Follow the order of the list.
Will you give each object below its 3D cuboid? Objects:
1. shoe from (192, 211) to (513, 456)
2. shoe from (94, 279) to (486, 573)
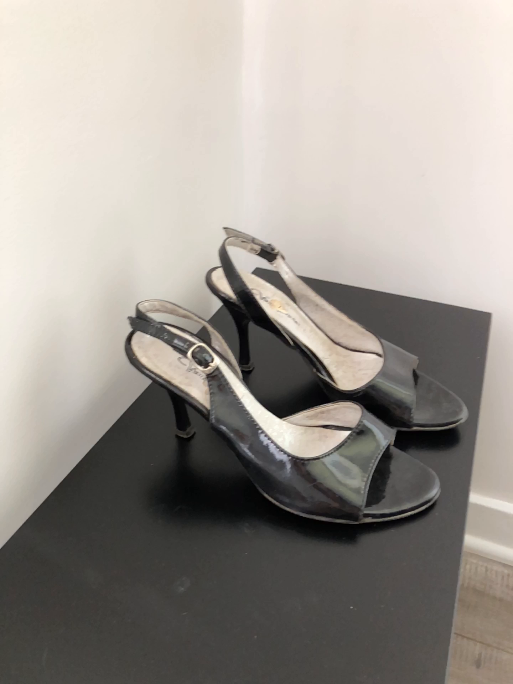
[{"bbox_3d":[0.067,-0.014,0.424,0.210,0.110,0.084,15,36,20],"label":"shoe"},{"bbox_3d":[0.020,0.045,0.355,0.210,0.110,0.084,12,35,15],"label":"shoe"}]
